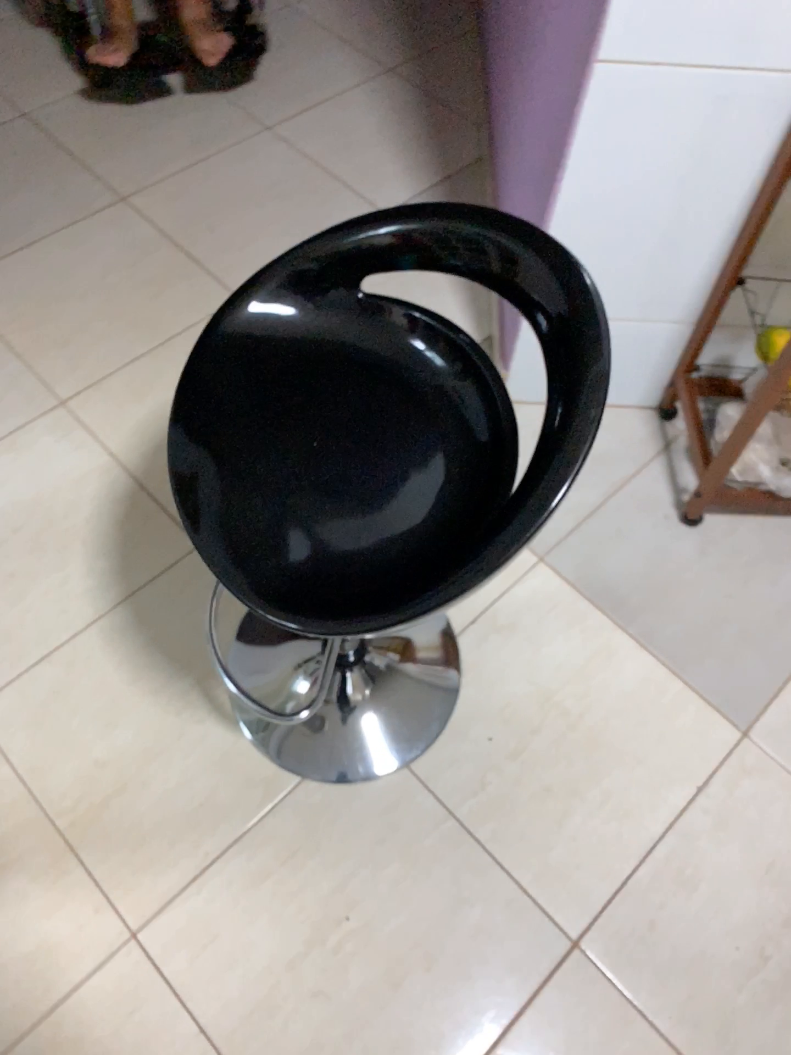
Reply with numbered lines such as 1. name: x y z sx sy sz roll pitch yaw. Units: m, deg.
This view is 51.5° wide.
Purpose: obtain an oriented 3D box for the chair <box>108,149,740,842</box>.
1. chair: -0.023 0.044 1.029 0.443 0.814 0.454 -5 58 -7
